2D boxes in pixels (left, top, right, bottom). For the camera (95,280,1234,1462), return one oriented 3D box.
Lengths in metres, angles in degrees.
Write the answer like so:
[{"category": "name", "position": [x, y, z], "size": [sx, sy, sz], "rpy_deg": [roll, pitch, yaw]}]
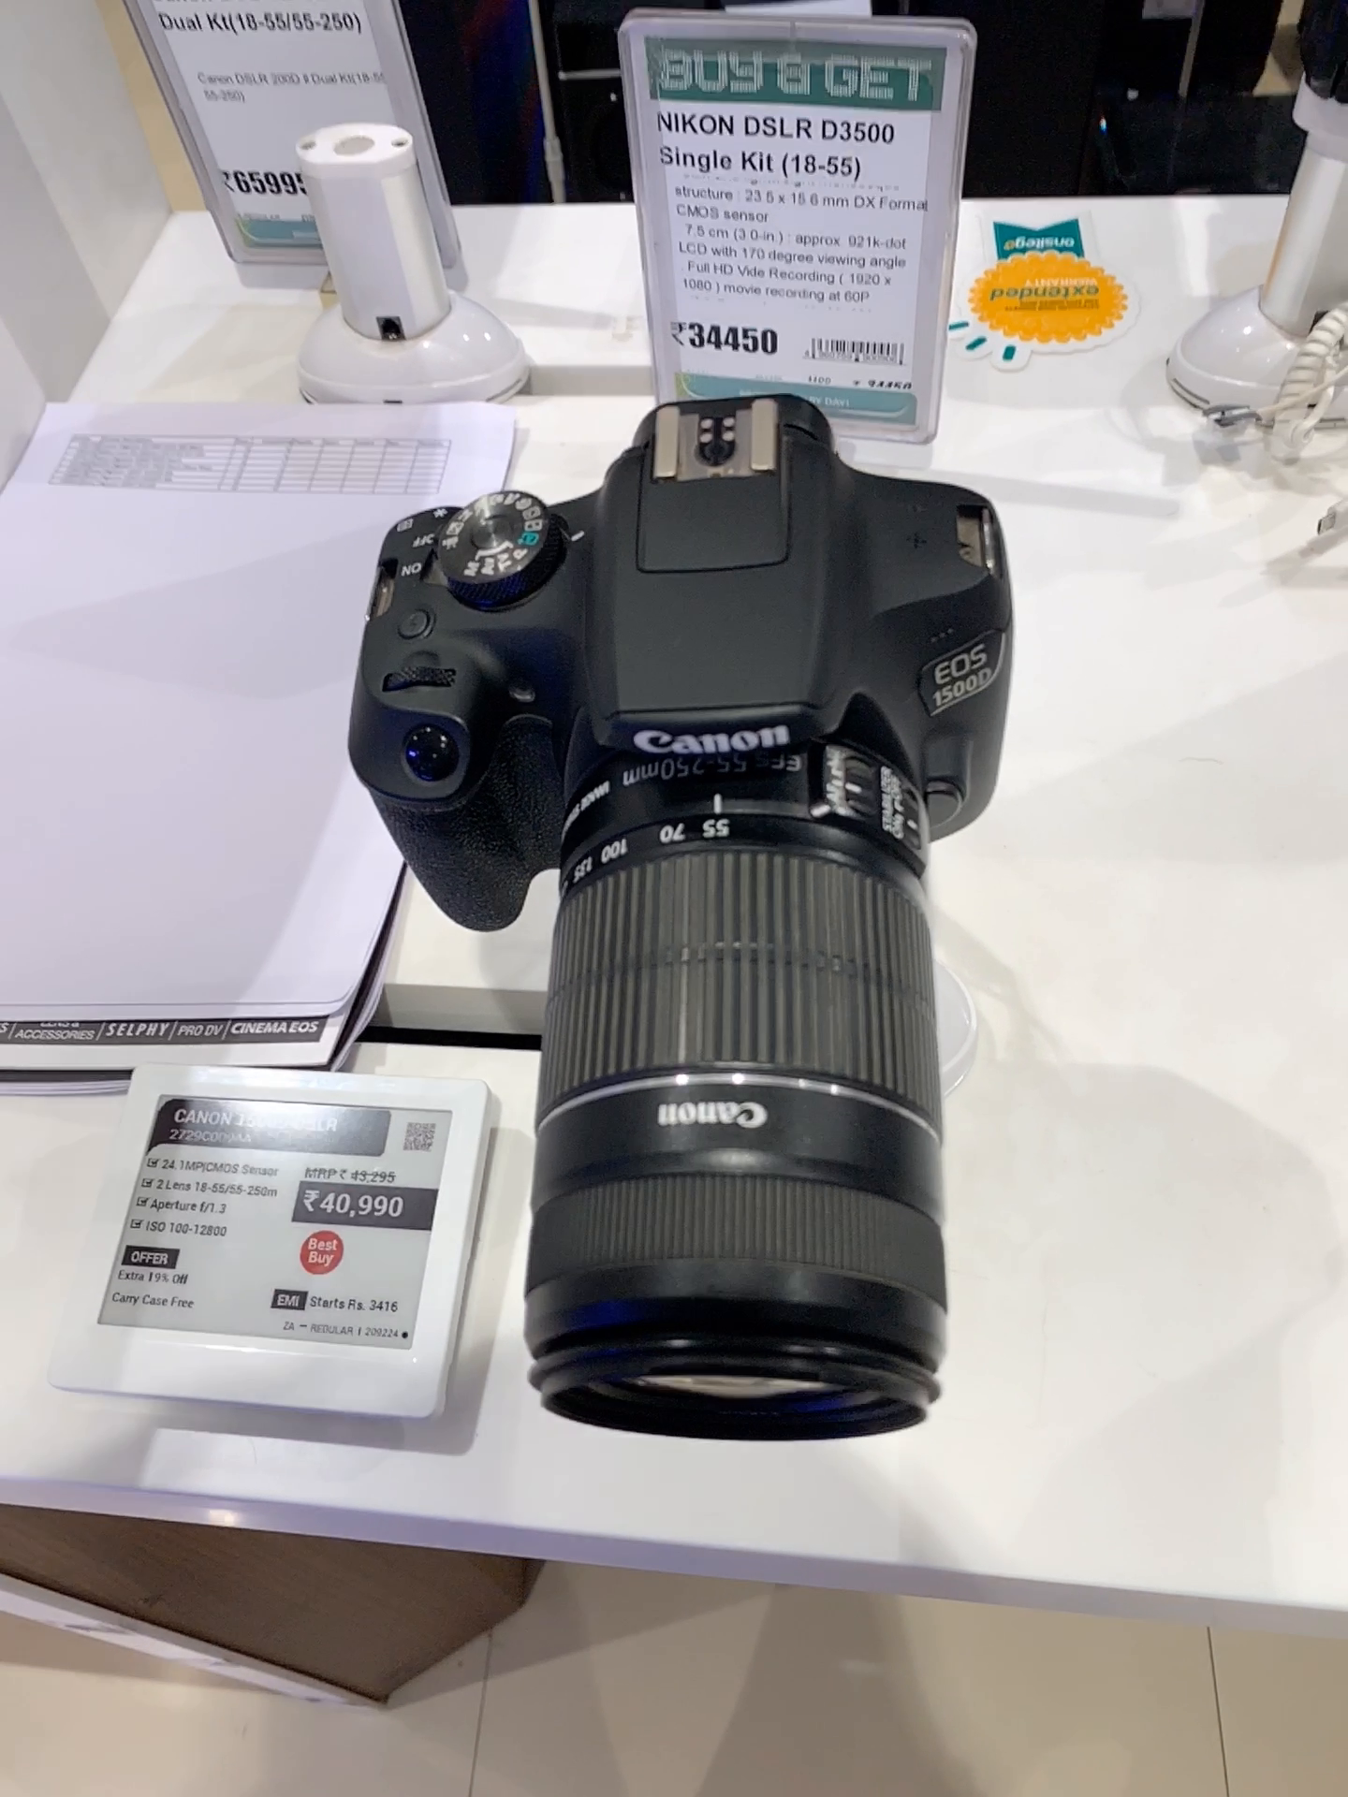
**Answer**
[{"category": "camera", "position": [0.004, -0.011, 0.248], "size": [0.130, 0.090, 0.190], "rpy_deg": [-1, 56, 5]}]
